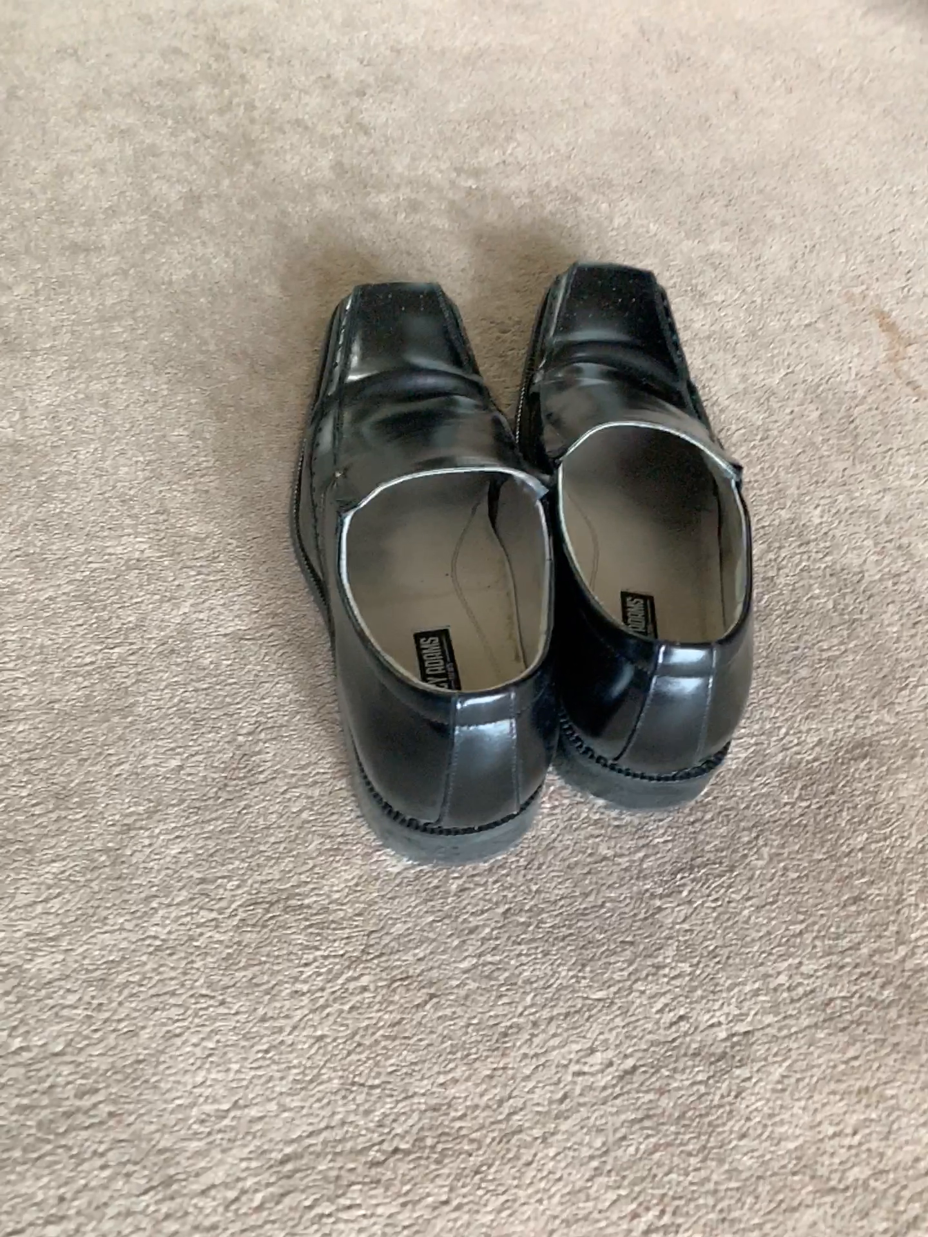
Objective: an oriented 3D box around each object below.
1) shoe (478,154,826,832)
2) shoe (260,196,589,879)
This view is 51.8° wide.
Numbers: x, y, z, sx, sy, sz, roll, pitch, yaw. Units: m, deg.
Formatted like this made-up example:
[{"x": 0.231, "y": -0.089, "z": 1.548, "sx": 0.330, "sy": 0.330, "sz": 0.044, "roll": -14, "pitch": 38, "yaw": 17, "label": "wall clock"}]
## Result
[{"x": 0.076, "y": -0.075, "z": 0.468, "sx": 0.110, "sy": 0.119, "sz": 0.322, "roll": 6, "pitch": 56, "yaw": -2, "label": "shoe"}, {"x": -0.034, "y": -0.053, "z": 0.453, "sx": 0.110, "sy": 0.119, "sz": 0.312, "roll": -3, "pitch": 57, "yaw": -7, "label": "shoe"}]
